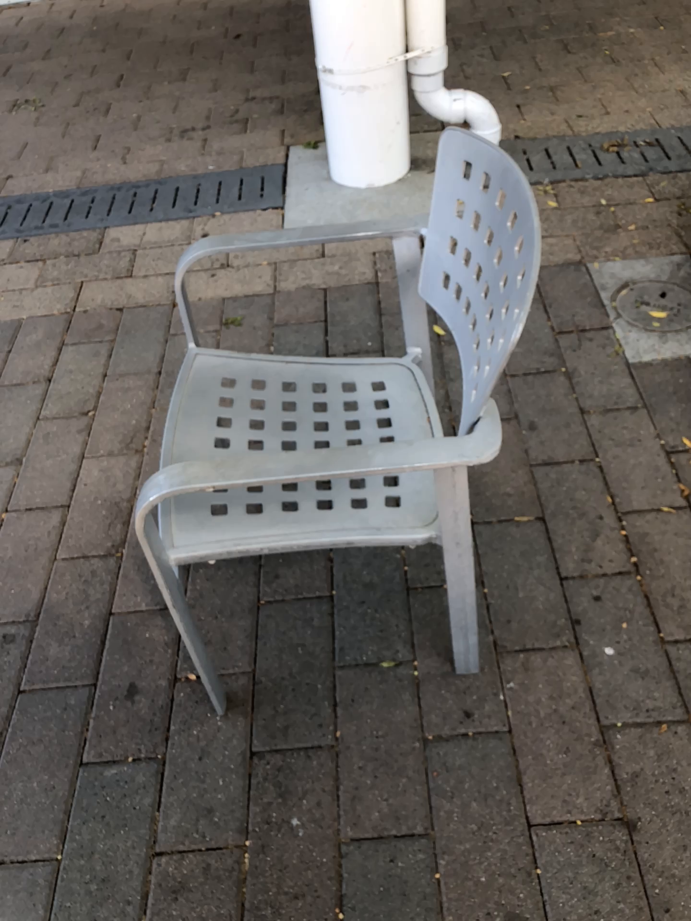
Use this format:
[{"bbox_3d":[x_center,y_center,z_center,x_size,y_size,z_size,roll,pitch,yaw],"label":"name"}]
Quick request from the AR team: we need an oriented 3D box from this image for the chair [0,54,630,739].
[{"bbox_3d":[-0.047,-0.073,1.180,0.590,0.777,0.633,-5,46,-1],"label":"chair"}]
